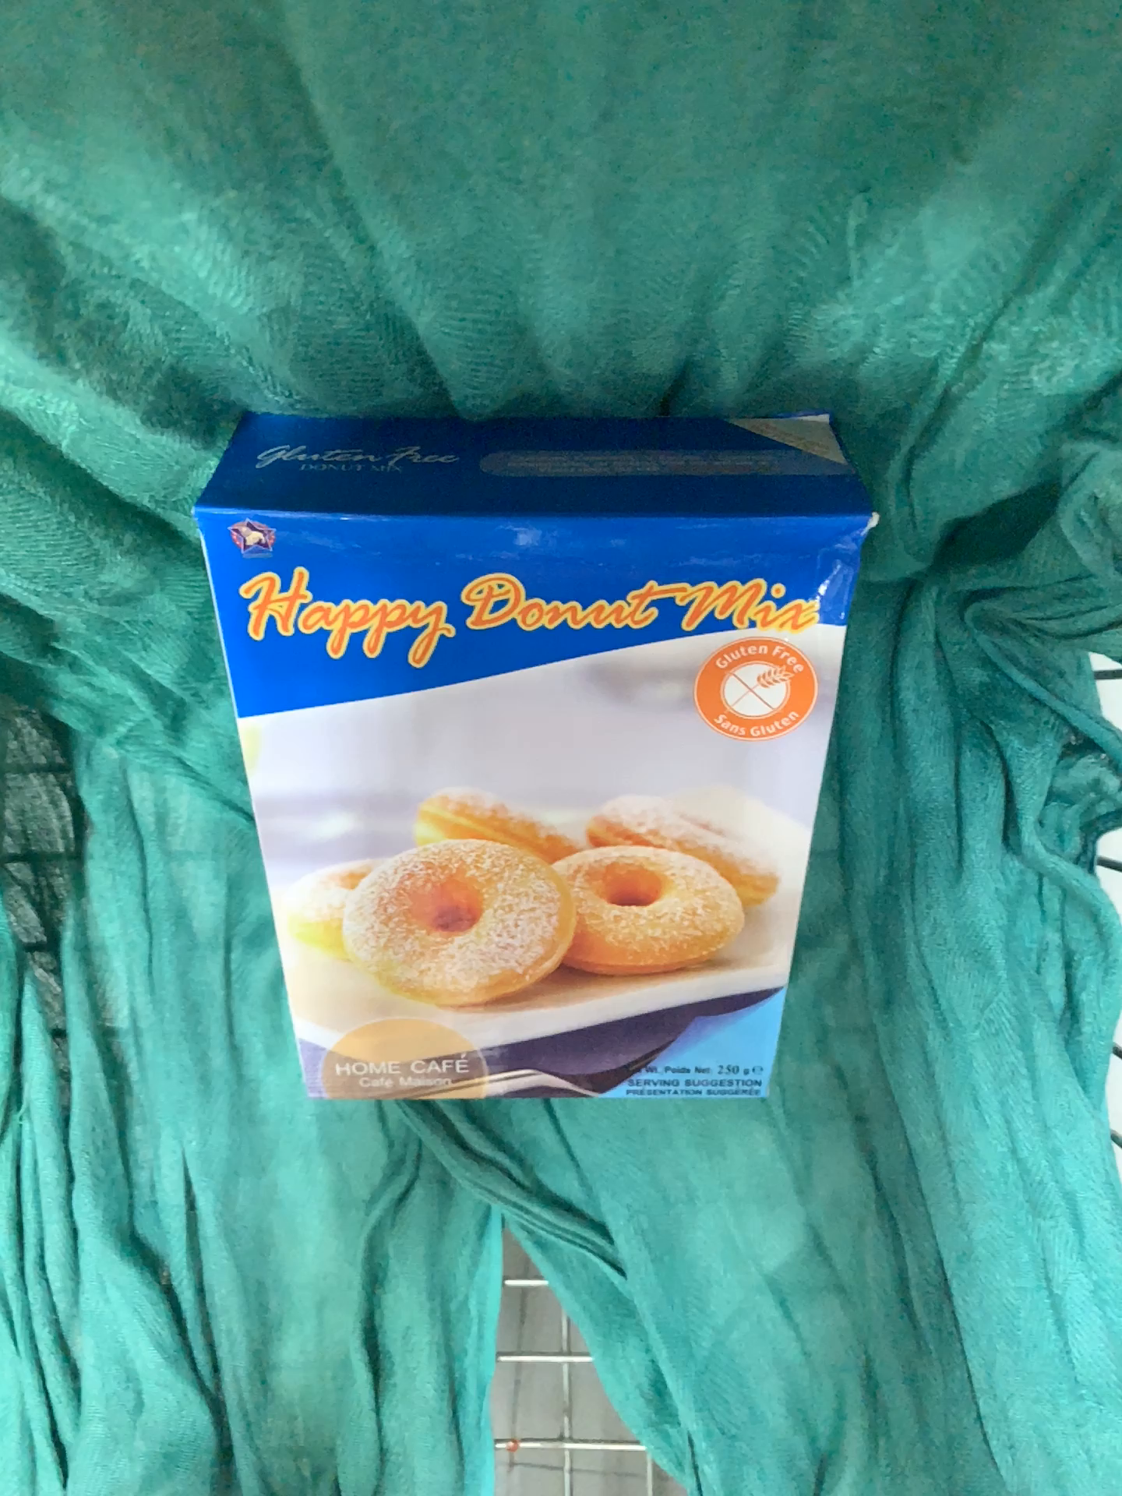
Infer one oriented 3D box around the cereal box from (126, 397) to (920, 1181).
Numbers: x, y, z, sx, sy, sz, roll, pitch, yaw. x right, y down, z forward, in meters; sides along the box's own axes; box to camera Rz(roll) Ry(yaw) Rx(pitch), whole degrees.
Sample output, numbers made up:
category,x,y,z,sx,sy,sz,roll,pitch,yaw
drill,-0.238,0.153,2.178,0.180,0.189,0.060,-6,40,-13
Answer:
category,x,y,z,sx,sy,sz,roll,pitch,yaw
cereal box,-0.007,0.019,0.267,0.130,0.060,0.180,-1,126,-2
